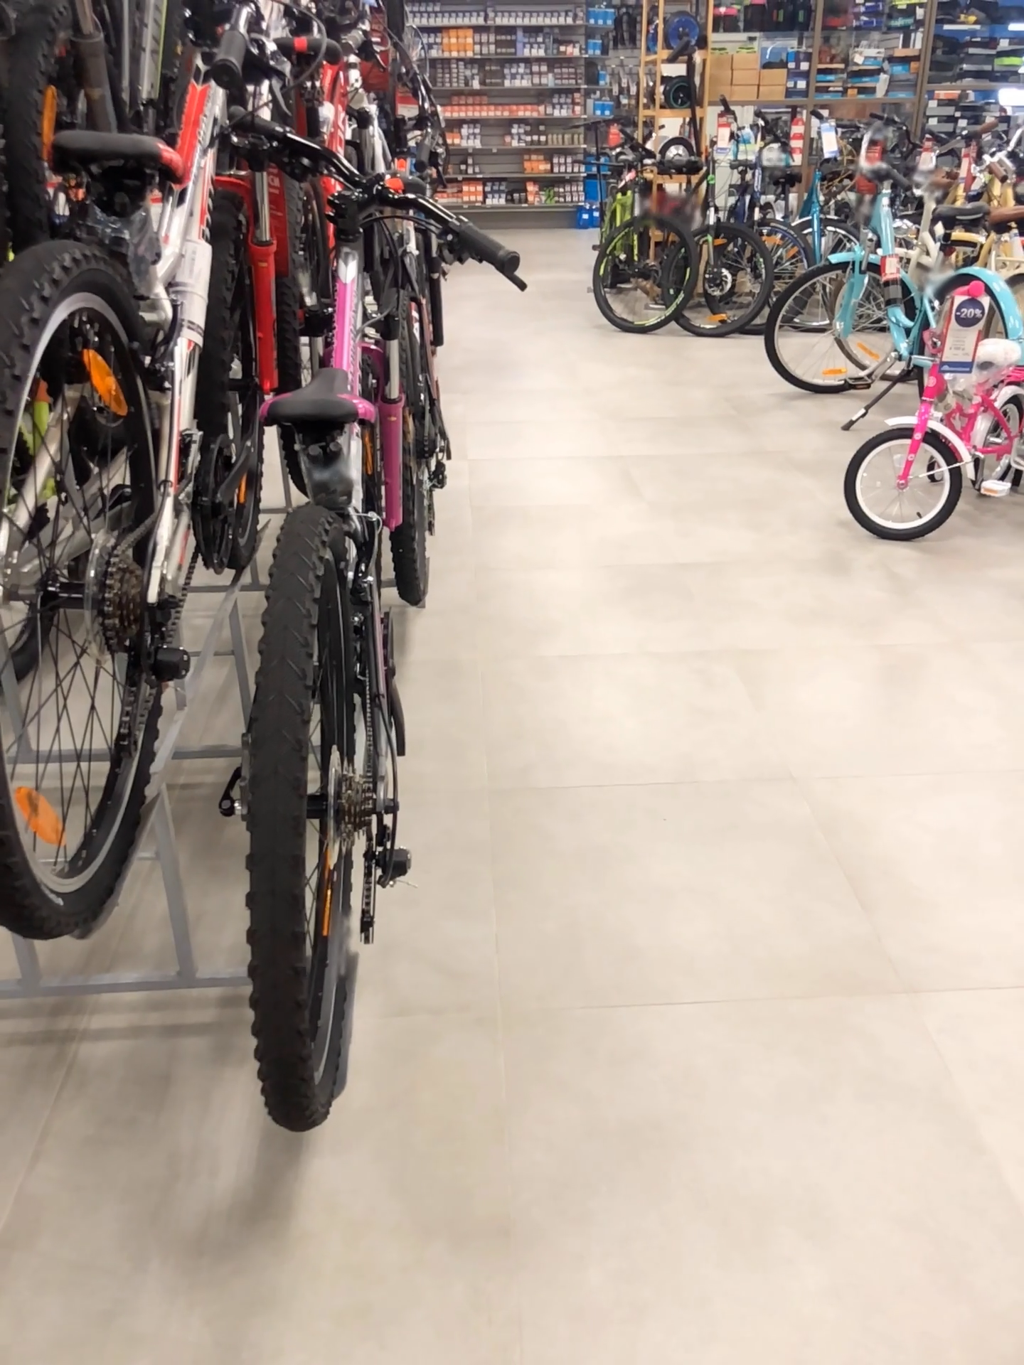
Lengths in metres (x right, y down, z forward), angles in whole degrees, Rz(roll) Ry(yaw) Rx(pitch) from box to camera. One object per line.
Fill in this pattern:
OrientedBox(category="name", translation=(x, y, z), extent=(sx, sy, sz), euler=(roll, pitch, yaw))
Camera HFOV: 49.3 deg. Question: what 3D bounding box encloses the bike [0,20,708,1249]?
OrientedBox(category="bike", translation=(-0.244, -0.329, 1.537), extent=(0.598, 0.990, 1.615), euler=(-2, 29, -3))
